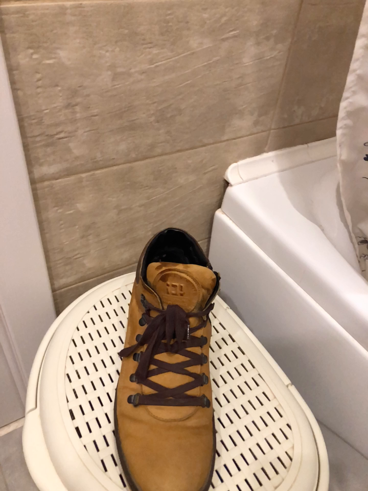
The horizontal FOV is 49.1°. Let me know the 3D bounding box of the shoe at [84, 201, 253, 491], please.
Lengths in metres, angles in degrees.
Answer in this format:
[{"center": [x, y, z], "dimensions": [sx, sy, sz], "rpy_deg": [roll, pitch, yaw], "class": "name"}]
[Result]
[{"center": [-0.020, 0.110, 0.426], "dimensions": [0.110, 0.169, 0.292], "rpy_deg": [2, 42, -4], "class": "shoe"}]
